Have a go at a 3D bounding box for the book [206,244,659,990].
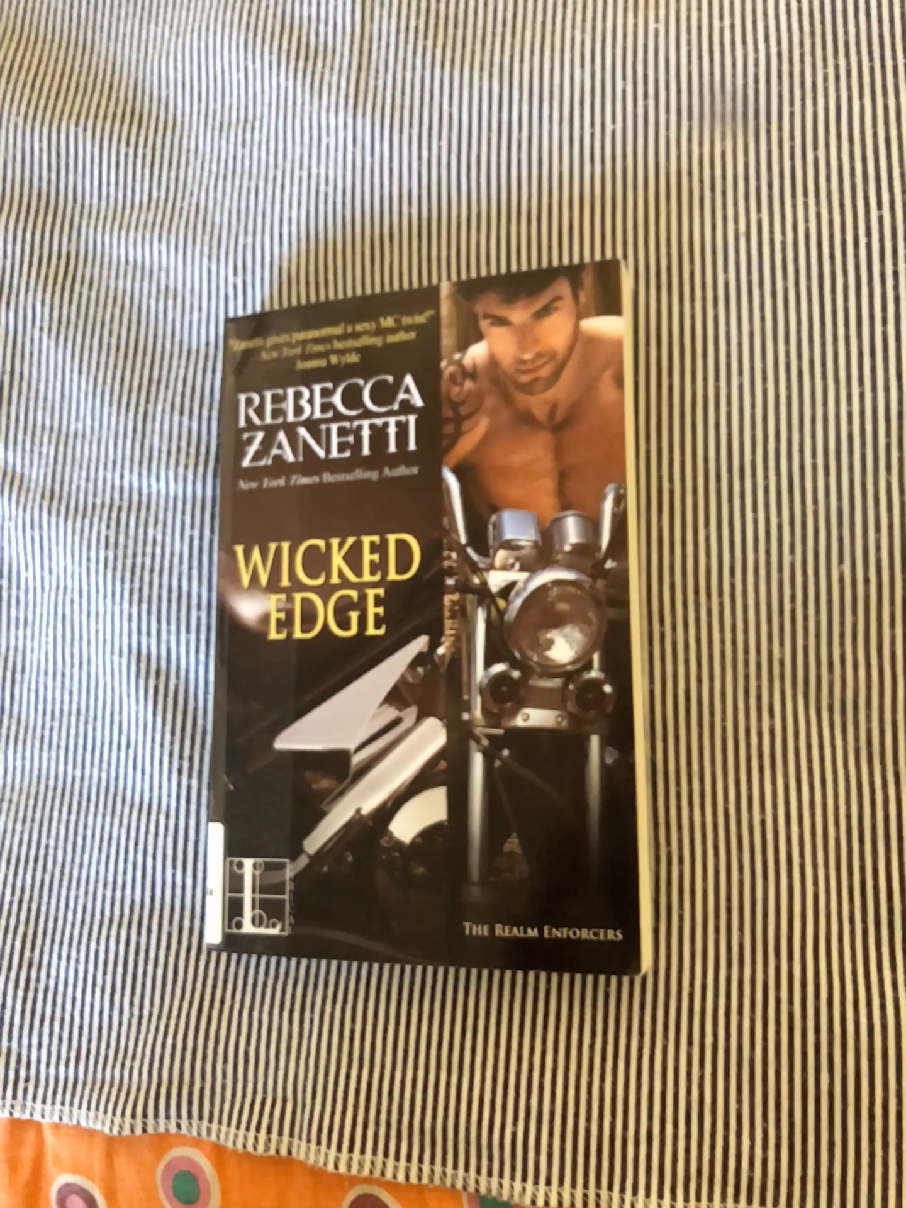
[{"bbox_3d":[-0.007,0.003,0.325,0.137,0.030,0.215,-2,83,17],"label":"book"}]
